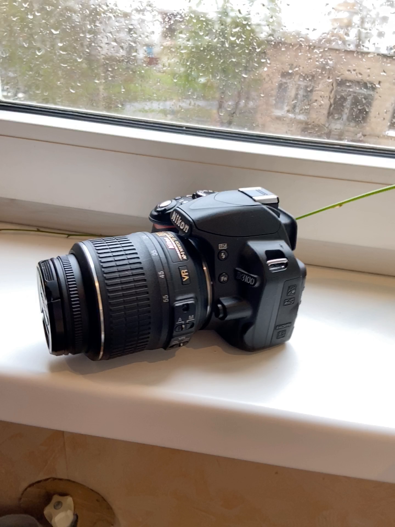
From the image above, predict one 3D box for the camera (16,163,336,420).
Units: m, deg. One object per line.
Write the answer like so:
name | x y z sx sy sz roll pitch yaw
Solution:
camera | -0.022 0.000 0.271 0.159 0.092 0.122 -10 33 -26
